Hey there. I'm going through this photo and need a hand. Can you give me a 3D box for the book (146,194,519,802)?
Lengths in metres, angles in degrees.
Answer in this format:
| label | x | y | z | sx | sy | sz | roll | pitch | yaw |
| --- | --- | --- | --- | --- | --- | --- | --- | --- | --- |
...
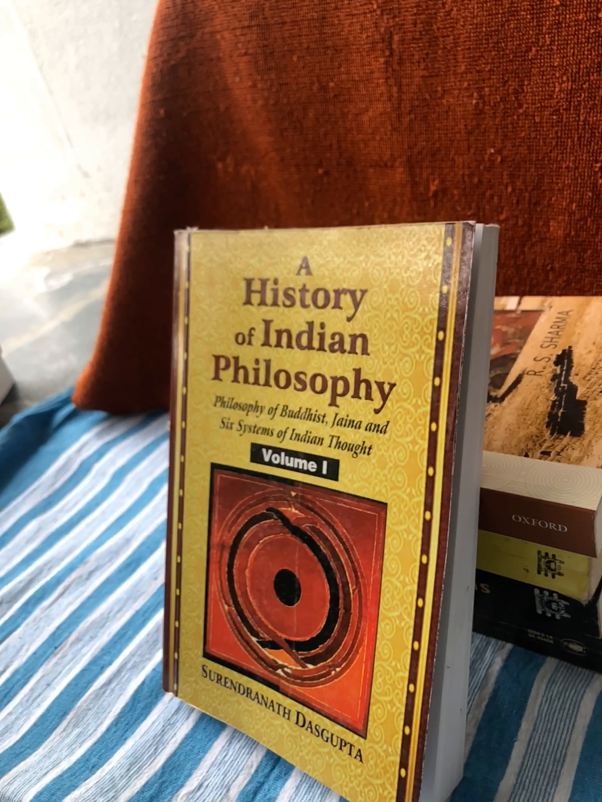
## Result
| label | x | y | z | sx | sy | sz | roll | pitch | yaw |
| --- | --- | --- | --- | --- | --- | --- | --- | --- | --- |
| book | 0.003 | 0.035 | 0.279 | 0.141 | 0.216 | 0.048 | 8 | 8 | 39 |
